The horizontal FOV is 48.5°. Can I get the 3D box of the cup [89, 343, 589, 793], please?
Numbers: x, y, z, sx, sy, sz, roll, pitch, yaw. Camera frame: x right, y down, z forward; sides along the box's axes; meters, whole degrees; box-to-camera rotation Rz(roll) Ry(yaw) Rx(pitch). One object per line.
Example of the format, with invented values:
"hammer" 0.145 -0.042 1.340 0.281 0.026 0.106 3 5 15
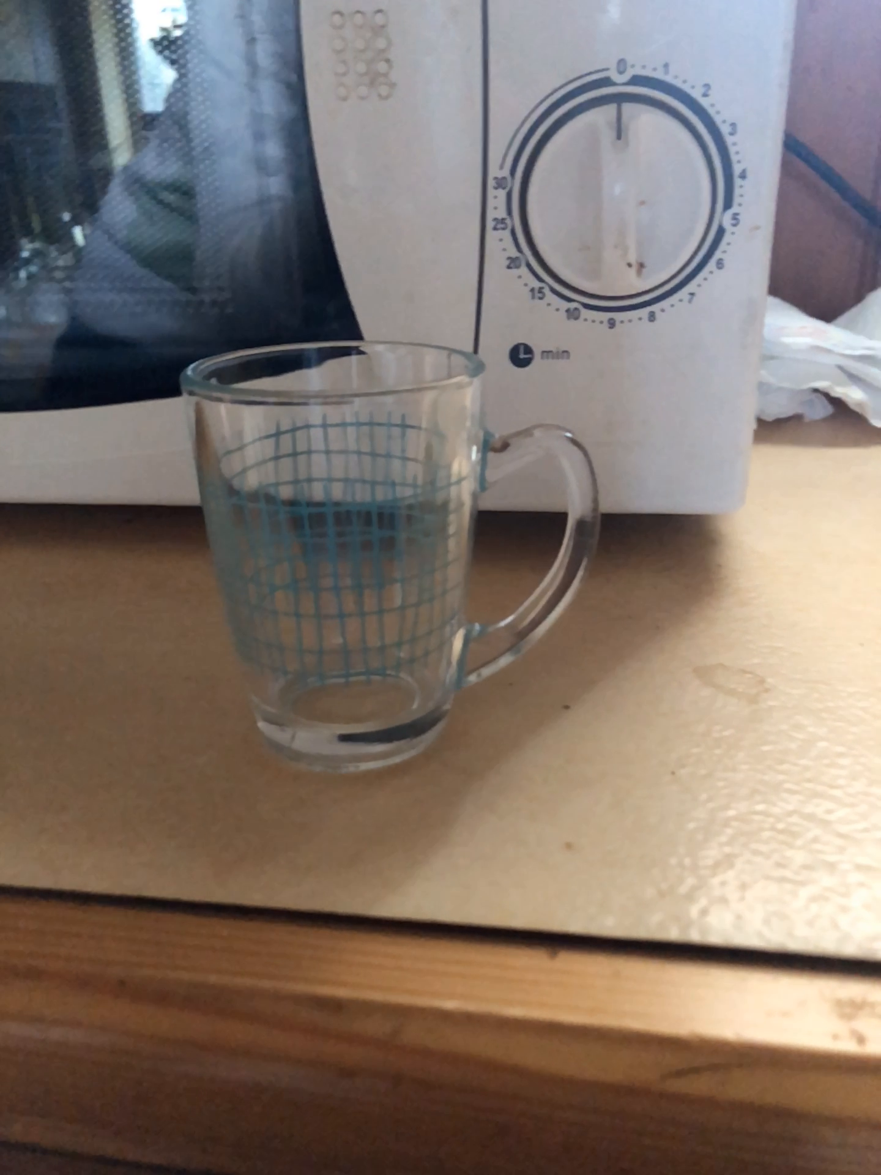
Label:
"cup" -0.013 -0.008 0.195 0.080 0.070 0.060 1 23 6
